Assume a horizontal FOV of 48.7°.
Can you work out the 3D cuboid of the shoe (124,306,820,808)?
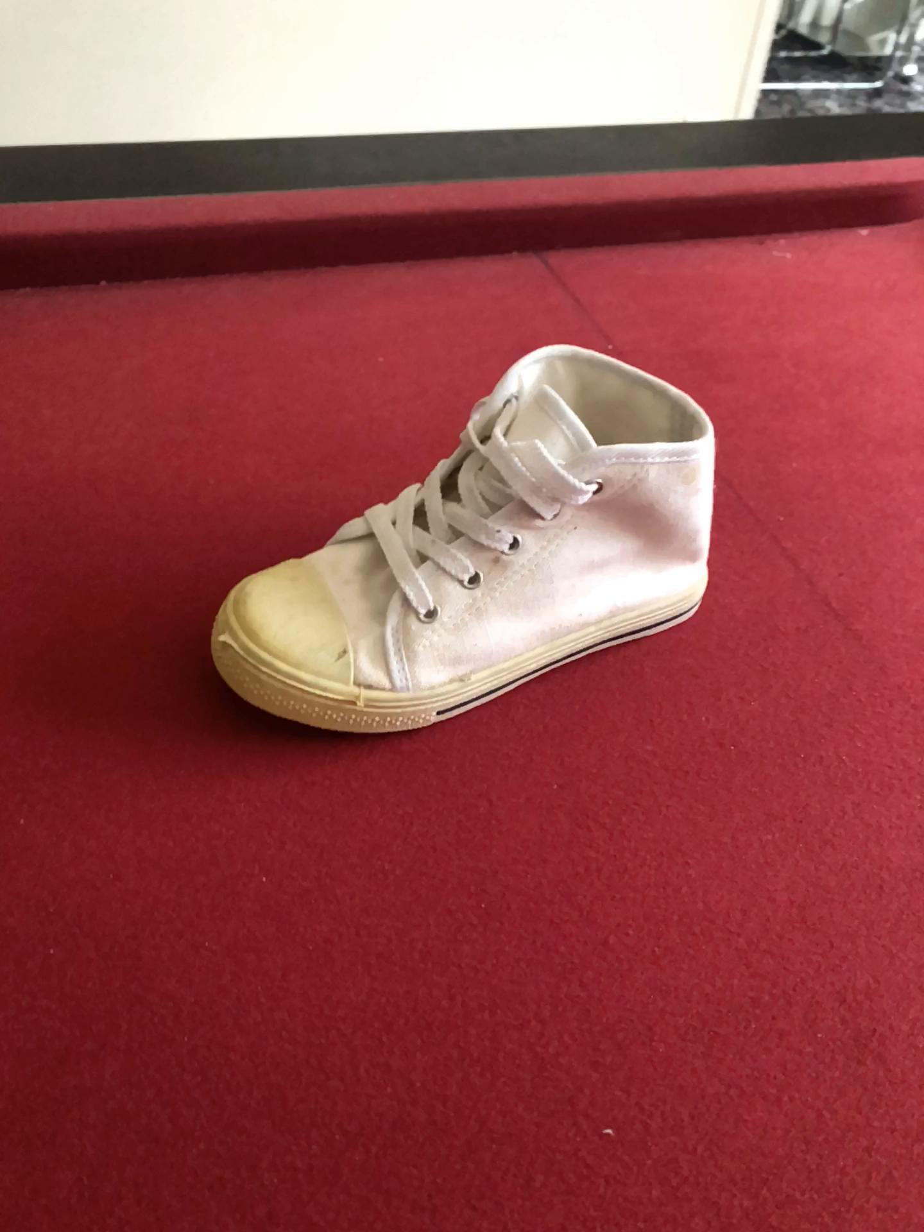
[{"bbox_3d":[0.006,-0.033,0.382,0.221,0.089,0.100,-19,48,-24],"label":"shoe"}]
